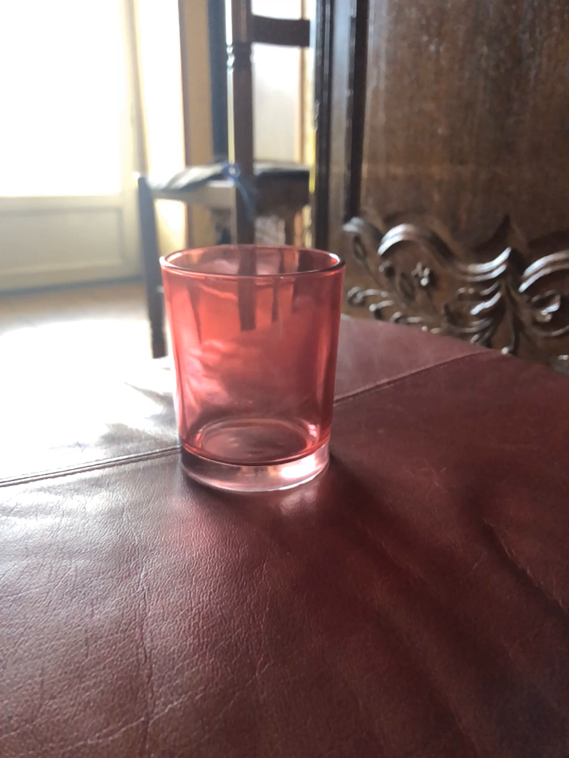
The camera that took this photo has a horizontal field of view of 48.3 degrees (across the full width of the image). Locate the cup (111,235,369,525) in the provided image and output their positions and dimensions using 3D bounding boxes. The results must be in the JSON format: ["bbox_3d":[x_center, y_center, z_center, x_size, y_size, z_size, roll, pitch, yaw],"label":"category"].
[{"bbox_3d":[-0.017,-0.007,0.257,0.070,0.090,0.070,0,18,0],"label":"cup"}]
